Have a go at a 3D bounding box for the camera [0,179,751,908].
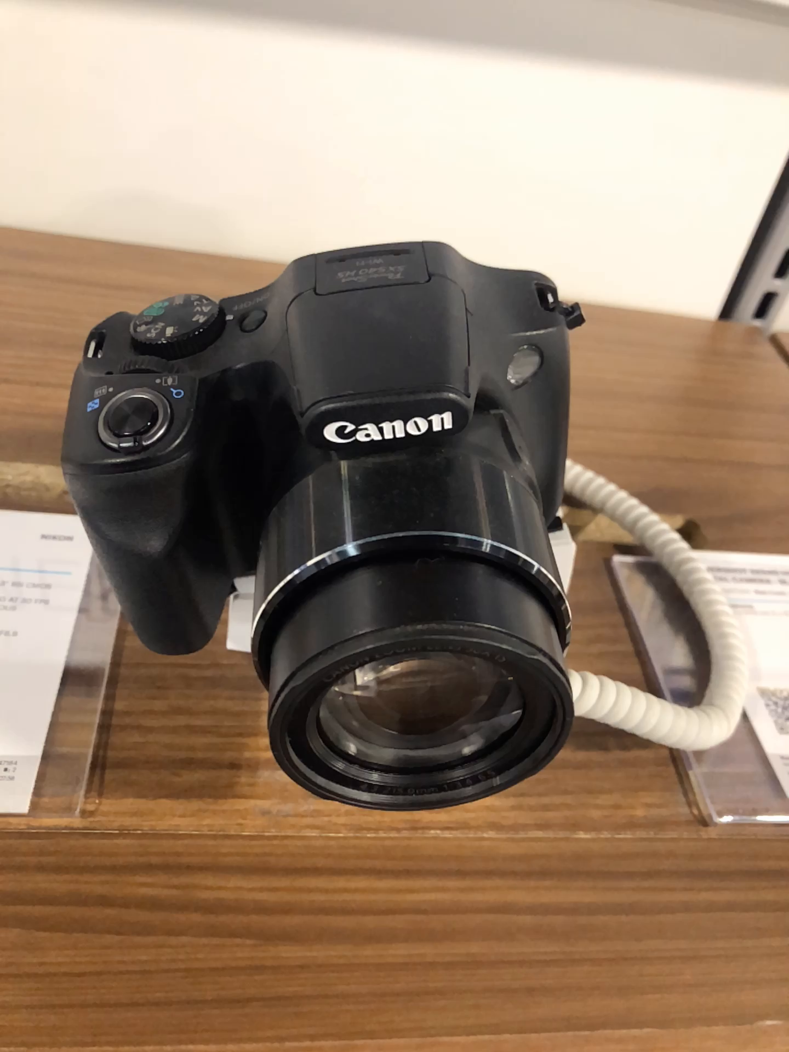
[{"bbox_3d":[-0.018,-0.009,0.202,0.130,0.070,0.141,-9,43,-3],"label":"camera"}]
